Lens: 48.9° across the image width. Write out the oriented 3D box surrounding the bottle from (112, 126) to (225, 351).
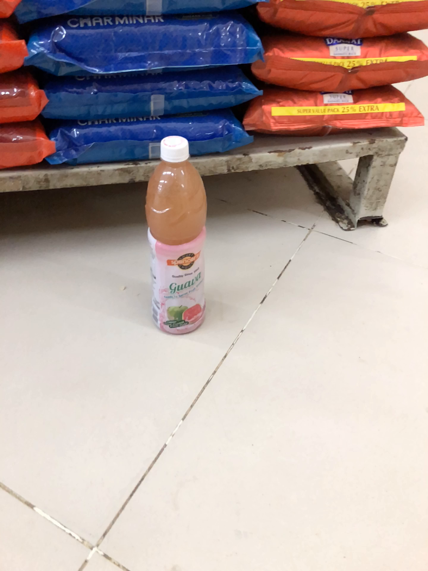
[{"bbox_3d":[-0.052,-0.048,0.586,0.090,0.258,0.090,1,43,-1],"label":"bottle"}]
